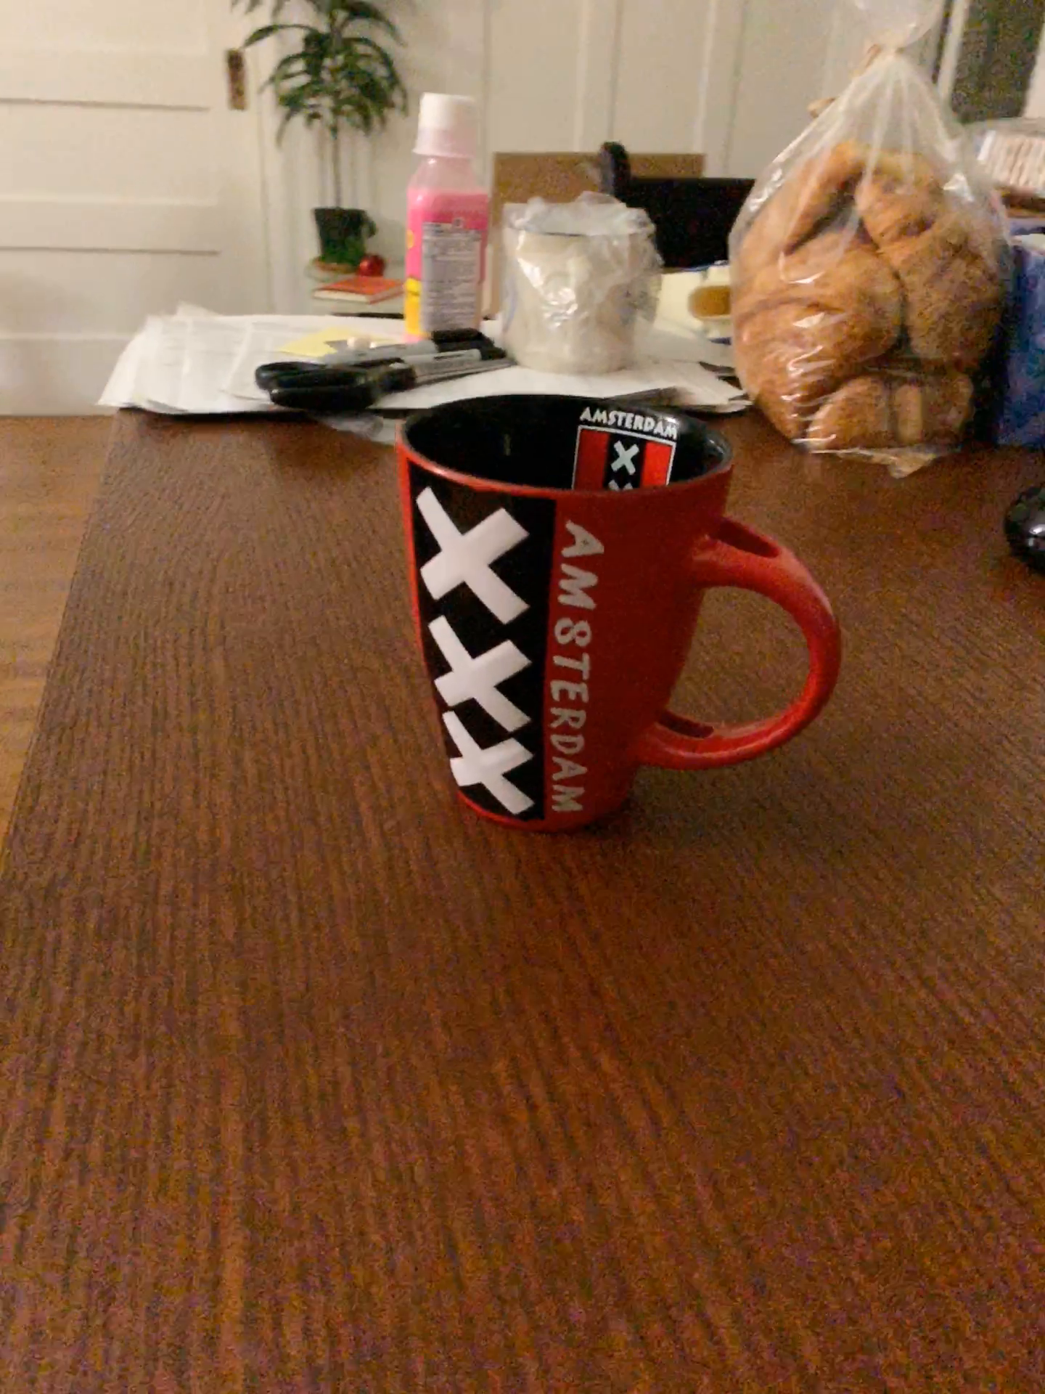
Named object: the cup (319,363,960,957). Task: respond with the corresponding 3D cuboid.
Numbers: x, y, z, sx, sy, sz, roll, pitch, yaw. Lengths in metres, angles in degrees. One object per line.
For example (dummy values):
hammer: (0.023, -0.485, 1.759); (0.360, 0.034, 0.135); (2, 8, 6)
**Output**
cup: (0.028, -0.020, 0.286); (0.130, 0.099, 0.090); (19, 33, 26)
